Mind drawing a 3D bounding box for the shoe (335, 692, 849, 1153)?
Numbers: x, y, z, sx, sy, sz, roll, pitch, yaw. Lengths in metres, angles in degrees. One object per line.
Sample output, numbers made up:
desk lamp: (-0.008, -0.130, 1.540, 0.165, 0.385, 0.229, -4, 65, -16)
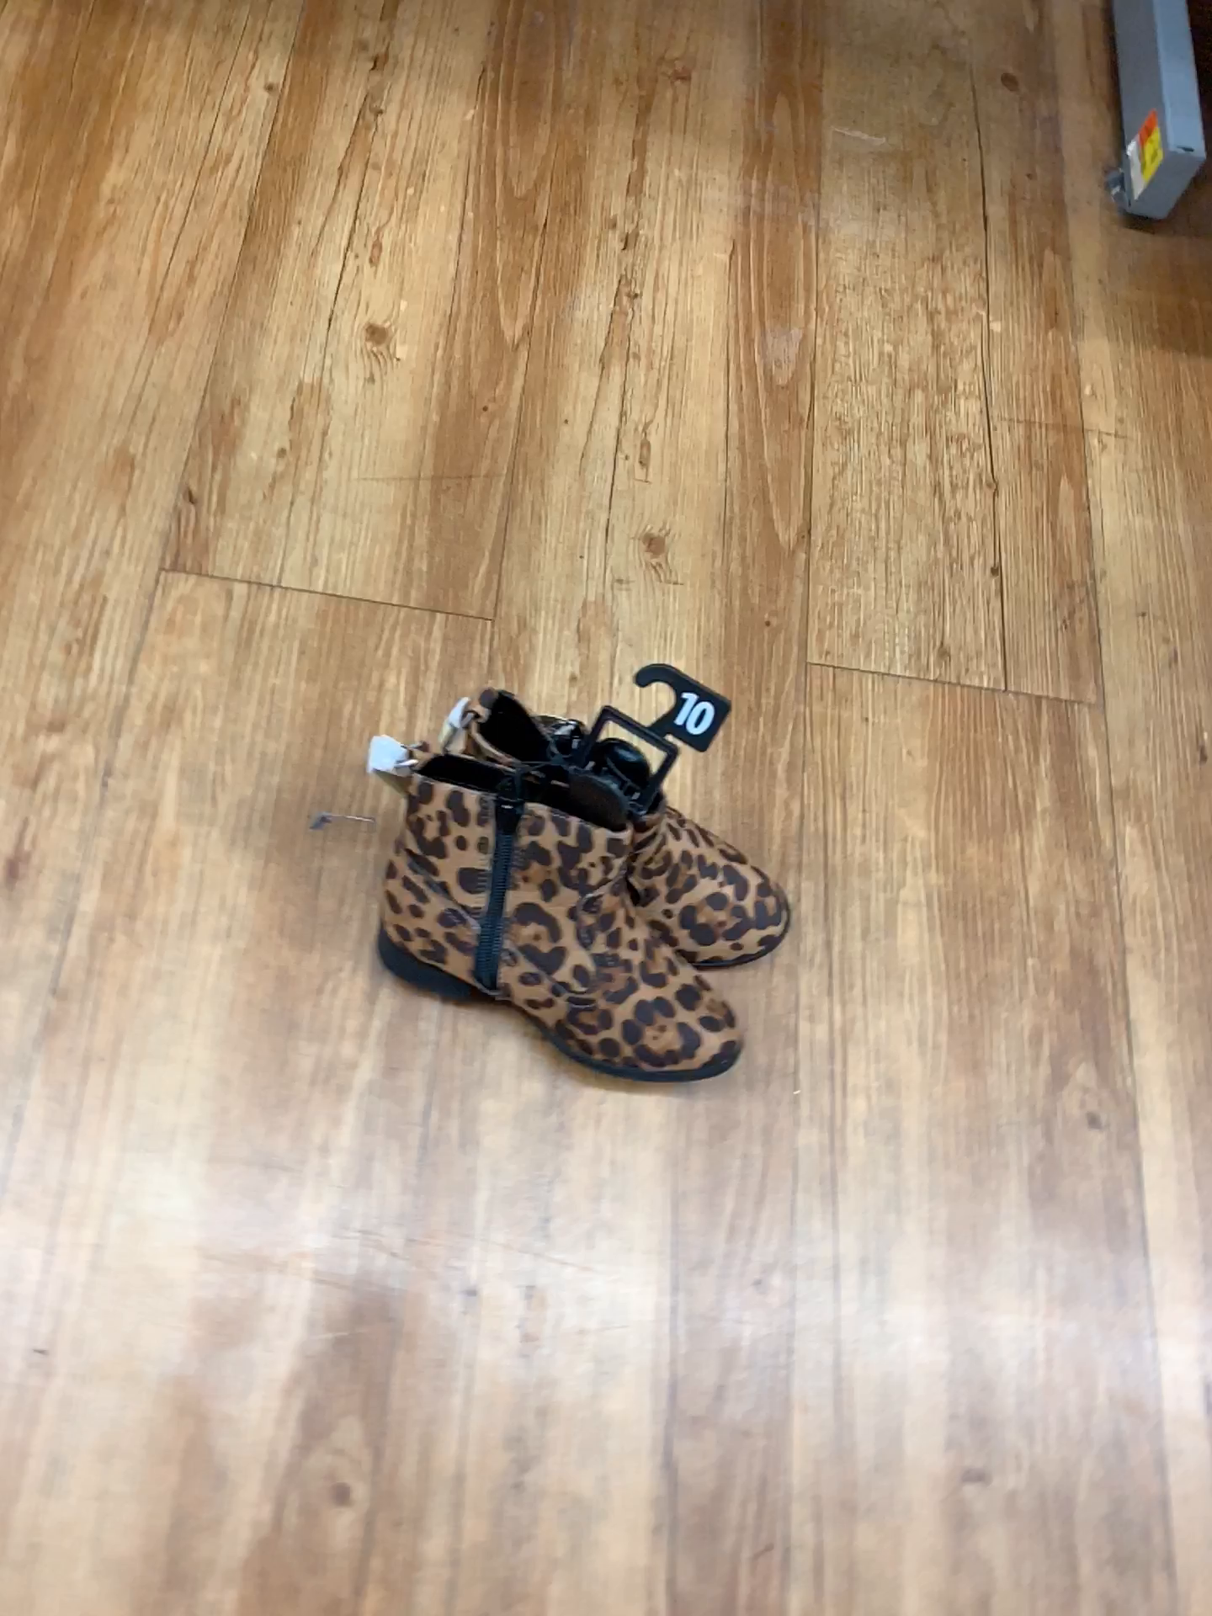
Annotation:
shoe: (-0.008, 0.050, 0.528, 0.180, 0.120, 0.070, 24, 37, 0)

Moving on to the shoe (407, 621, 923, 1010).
shoe: (0.017, 0.010, 0.531, 0.190, 0.120, 0.070, 19, 67, -1)
